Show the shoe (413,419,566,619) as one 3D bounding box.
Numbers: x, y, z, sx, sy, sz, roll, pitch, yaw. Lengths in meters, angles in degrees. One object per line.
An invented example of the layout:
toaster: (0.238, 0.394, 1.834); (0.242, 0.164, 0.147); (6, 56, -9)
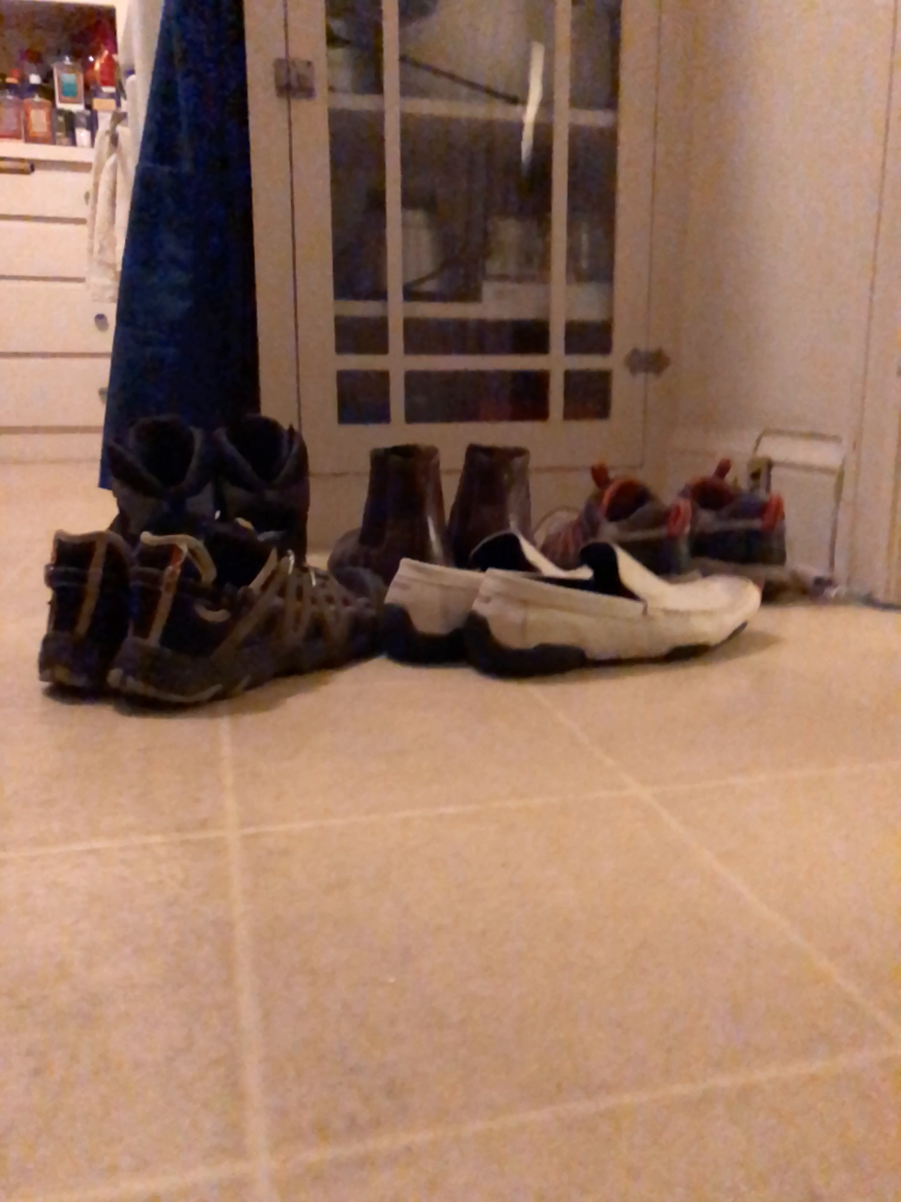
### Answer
shoe: (0.034, -0.111, 1.161); (0.110, 0.193, 0.324); (-2, 12, -10)

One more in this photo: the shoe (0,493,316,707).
shoe: (-0.236, -0.016, 0.856); (0.110, 0.123, 0.294); (4, 13, 20)

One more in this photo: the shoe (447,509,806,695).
shoe: (0.156, -0.010, 0.860); (0.303, 0.113, 0.110); (-7, 13, -29)

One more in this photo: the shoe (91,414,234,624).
shoe: (-0.330, -0.107, 1.104); (0.110, 0.193, 0.324); (-4, 13, -22)

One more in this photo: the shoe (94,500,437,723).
shoe: (-0.137, -0.007, 0.829); (0.110, 0.123, 0.294); (7, 14, 31)

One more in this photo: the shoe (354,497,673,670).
shoe: (0.067, -0.027, 0.934); (0.304, 0.113, 0.110); (-9, 15, -38)

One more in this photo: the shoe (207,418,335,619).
shoe: (-0.218, -0.112, 1.159); (0.110, 0.193, 0.324); (-3, 12, -15)

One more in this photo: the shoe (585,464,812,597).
shoe: (0.279, -0.095, 1.176); (0.110, 0.113, 0.314); (-3, 12, -17)

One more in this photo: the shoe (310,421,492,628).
shoe: (-0.068, -0.103, 1.131); (0.110, 0.193, 0.324); (-4, 13, -20)

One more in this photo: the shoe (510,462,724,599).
shoe: (0.176, -0.092, 1.138); (0.110, 0.113, 0.314); (-3, 12, -17)
